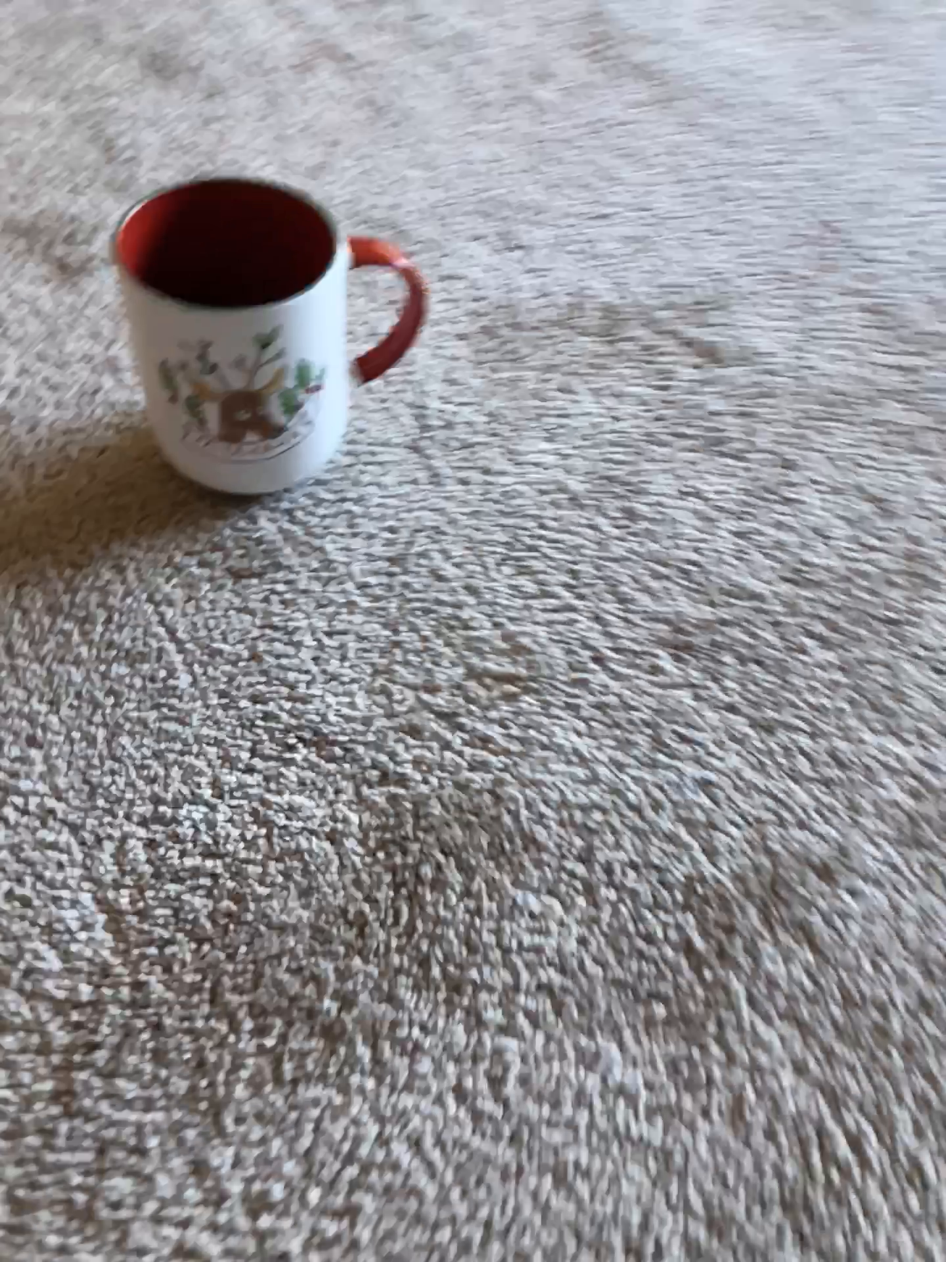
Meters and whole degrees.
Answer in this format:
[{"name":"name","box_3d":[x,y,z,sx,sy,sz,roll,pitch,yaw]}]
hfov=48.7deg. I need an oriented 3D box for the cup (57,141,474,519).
[{"name":"cup","box_3d":[-0.084,-0.128,0.439,0.140,0.090,0.100,-14,56,-14]}]
